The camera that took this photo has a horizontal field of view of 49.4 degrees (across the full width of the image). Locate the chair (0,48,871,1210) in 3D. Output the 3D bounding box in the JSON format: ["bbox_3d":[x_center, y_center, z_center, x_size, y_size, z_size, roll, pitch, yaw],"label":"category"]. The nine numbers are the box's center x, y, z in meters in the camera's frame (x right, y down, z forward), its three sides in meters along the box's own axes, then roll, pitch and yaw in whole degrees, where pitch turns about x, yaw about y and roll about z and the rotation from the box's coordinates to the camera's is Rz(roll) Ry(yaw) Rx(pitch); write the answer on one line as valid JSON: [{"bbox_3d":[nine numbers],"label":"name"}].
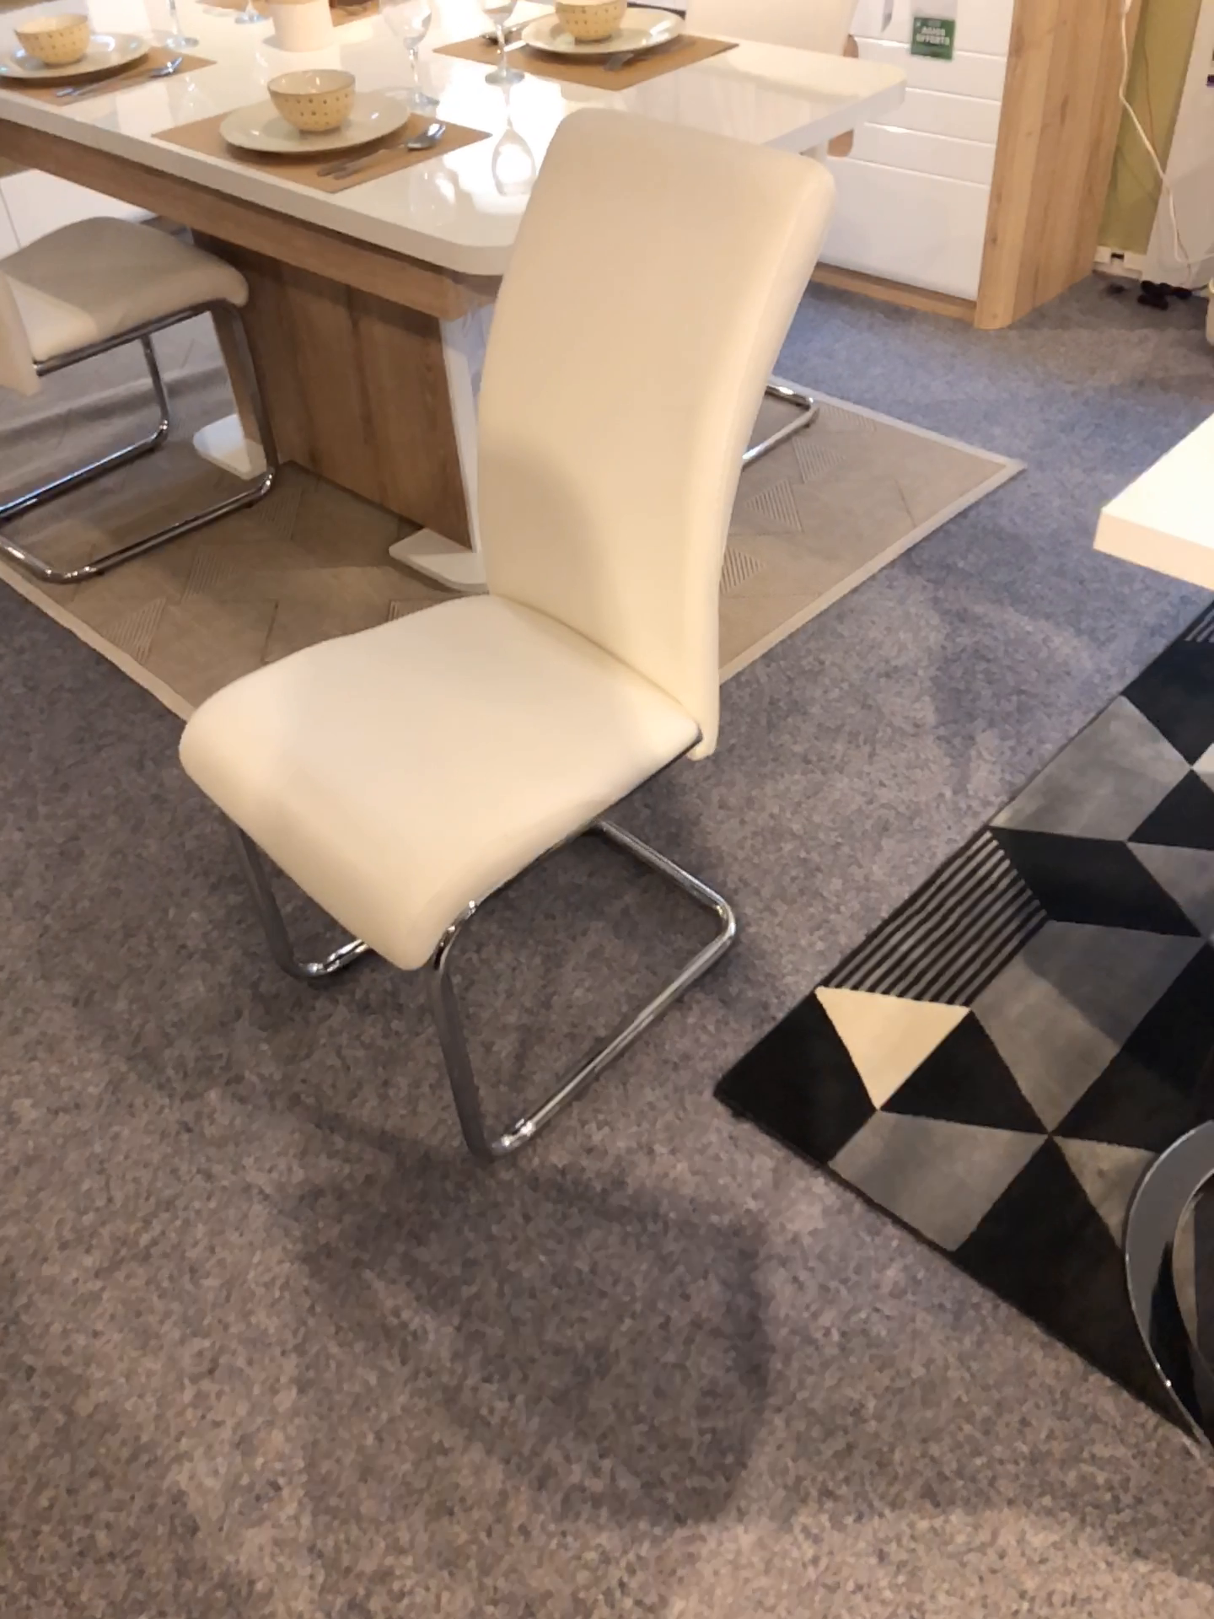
[{"bbox_3d":[-0.137,-0.172,1.359,0.500,0.925,0.553,32,53,33],"label":"chair"}]
